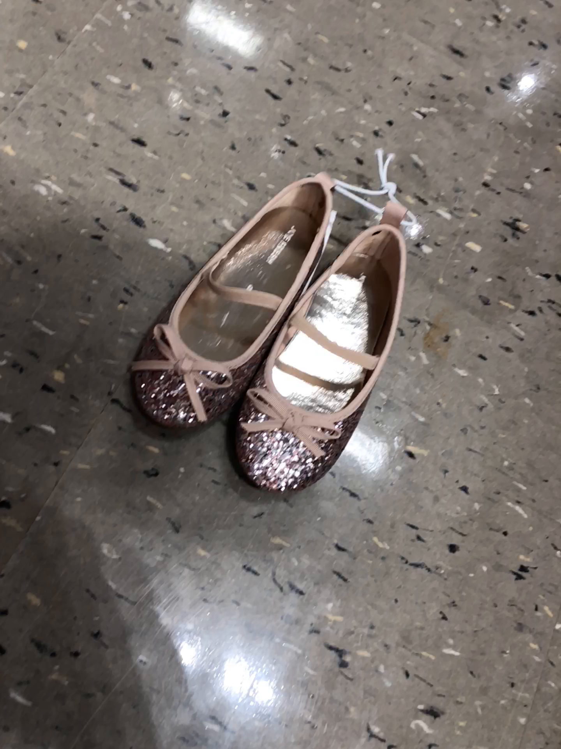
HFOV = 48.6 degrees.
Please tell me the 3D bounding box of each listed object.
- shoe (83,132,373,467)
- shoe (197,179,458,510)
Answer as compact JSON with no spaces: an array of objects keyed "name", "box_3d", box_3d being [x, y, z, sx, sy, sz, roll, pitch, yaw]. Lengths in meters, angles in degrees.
[{"name":"shoe","box_3d":[-0.027,-0.040,0.344,0.070,0.070,0.160,34,69,-1]},{"name":"shoe","box_3d":[0.026,-0.016,0.351,0.070,0.070,0.160,30,69,-3]}]
